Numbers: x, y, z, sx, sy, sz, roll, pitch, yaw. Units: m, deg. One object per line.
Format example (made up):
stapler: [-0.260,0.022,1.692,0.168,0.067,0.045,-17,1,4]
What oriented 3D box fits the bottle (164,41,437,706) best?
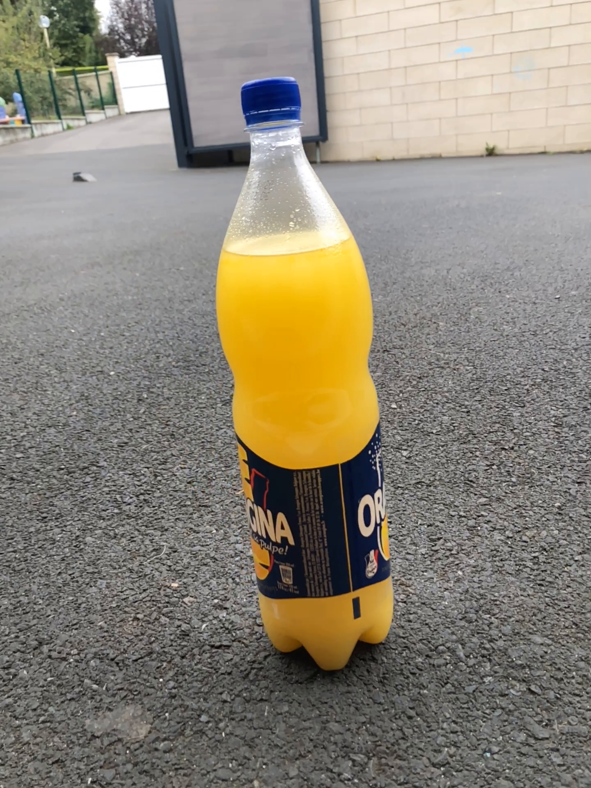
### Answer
bottle: [0.009,-0.001,0.371,0.100,0.338,0.100,-5,23,2]
